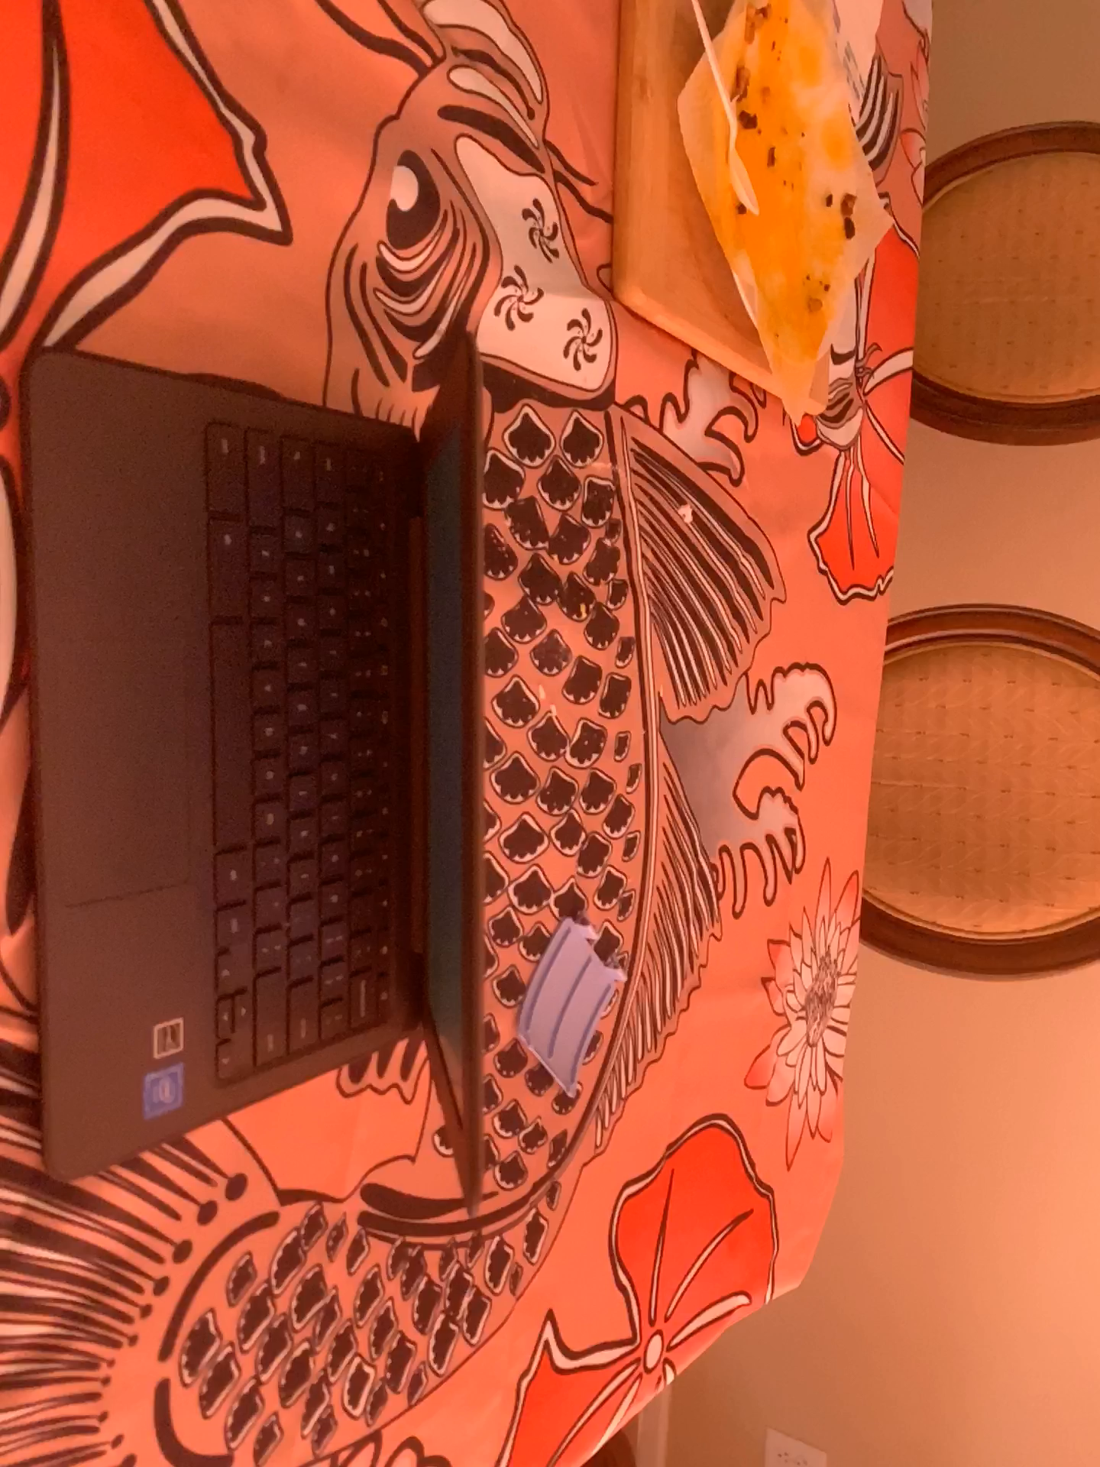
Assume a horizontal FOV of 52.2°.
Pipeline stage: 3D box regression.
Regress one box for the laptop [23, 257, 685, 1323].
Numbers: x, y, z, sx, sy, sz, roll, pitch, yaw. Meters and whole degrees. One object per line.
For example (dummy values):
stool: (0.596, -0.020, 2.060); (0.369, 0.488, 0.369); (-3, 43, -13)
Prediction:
laptop: (-0.061, 0.013, 0.441); (0.212, 0.144, 0.299); (-7, 99, -56)
